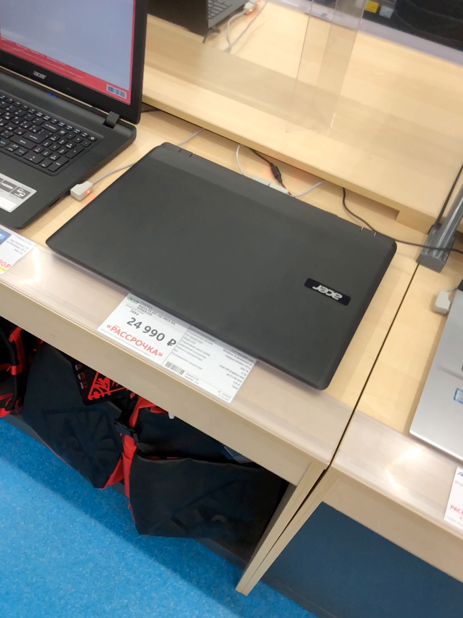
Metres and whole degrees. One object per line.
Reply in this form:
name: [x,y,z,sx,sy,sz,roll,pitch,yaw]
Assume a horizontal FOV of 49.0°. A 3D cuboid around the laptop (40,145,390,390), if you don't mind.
laptop: [-0.011,-0.087,0.722,0.410,0.005,0.278,26,55,12]
